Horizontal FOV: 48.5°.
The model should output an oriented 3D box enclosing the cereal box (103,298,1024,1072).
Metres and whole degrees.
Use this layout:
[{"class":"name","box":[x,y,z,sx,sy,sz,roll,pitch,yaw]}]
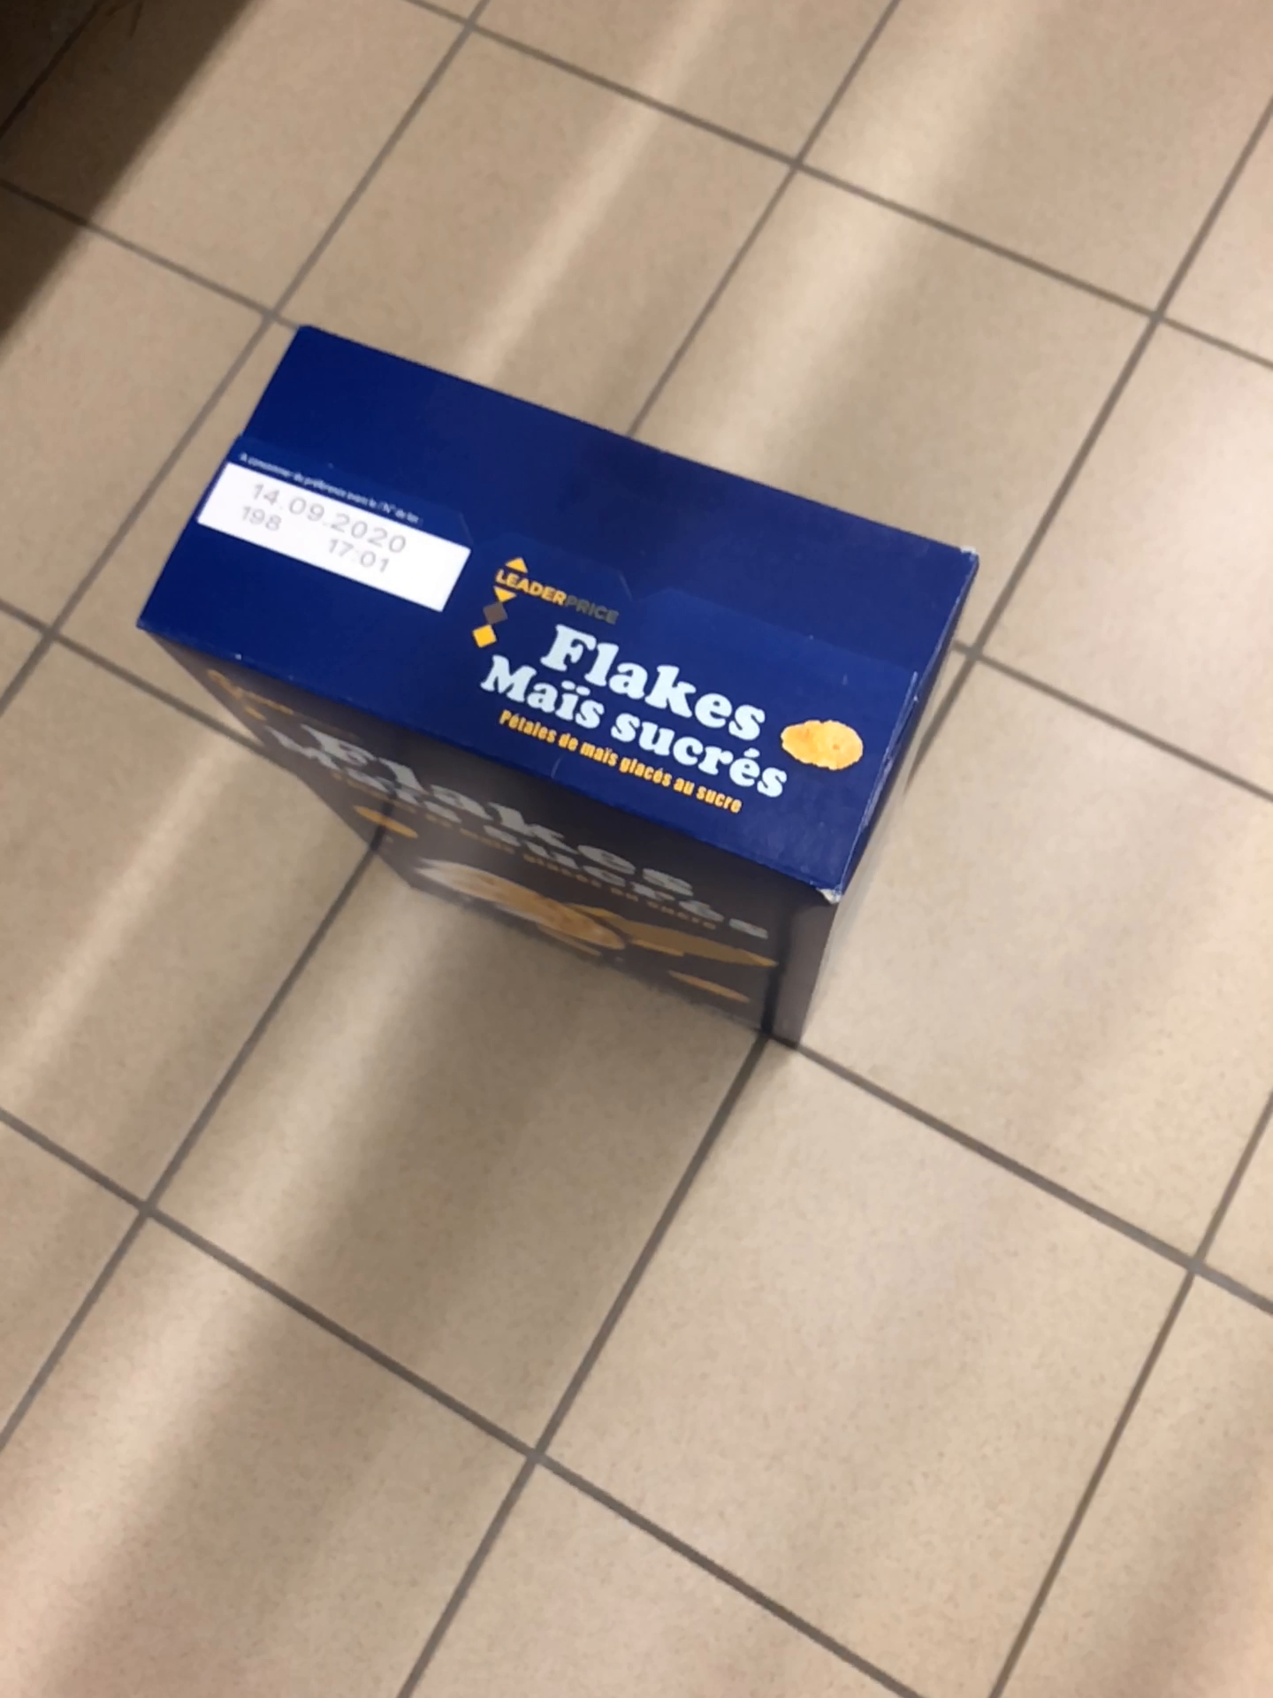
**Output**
[{"class":"cereal box","box":[-0.007,-0.026,0.503,0.210,0.310,0.100,22,78,11]}]
